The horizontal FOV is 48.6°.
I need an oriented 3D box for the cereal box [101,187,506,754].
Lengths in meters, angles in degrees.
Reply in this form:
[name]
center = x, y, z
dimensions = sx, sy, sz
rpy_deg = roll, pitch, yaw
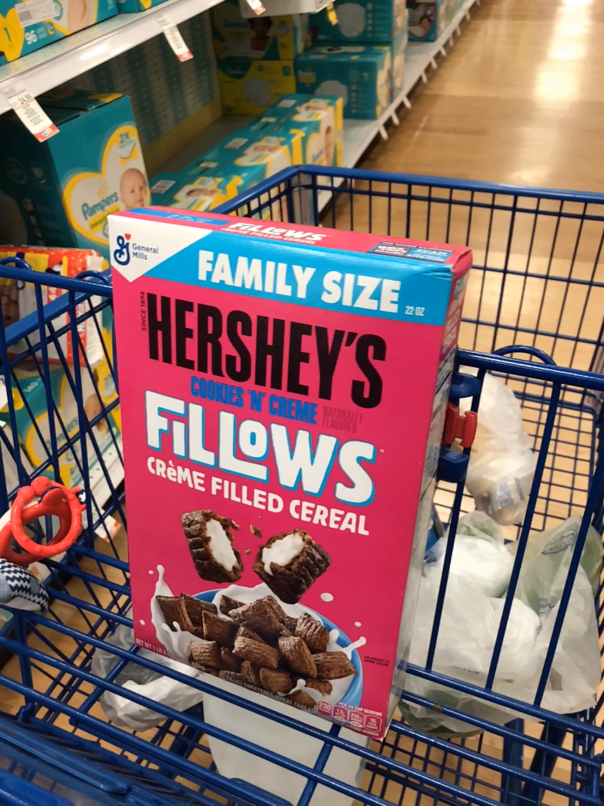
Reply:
[cereal box]
center = -0.012, 0.040, 0.399
dimensions = 0.200, 0.299, 0.060
rpy_deg = 13, 24, 20
